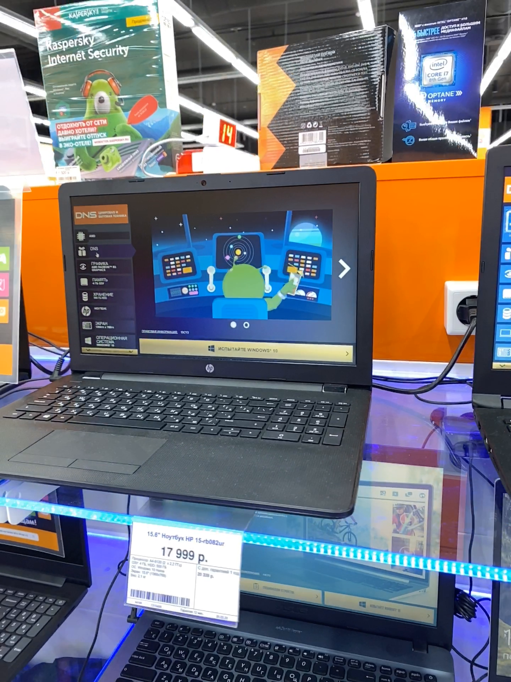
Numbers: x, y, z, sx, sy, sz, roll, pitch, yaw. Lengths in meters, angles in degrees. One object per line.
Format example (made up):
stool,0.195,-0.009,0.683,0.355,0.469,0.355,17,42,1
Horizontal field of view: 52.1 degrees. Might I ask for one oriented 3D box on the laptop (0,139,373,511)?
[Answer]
laptop,-0.088,-0.039,0.492,0.369,0.231,0.272,2,14,15
